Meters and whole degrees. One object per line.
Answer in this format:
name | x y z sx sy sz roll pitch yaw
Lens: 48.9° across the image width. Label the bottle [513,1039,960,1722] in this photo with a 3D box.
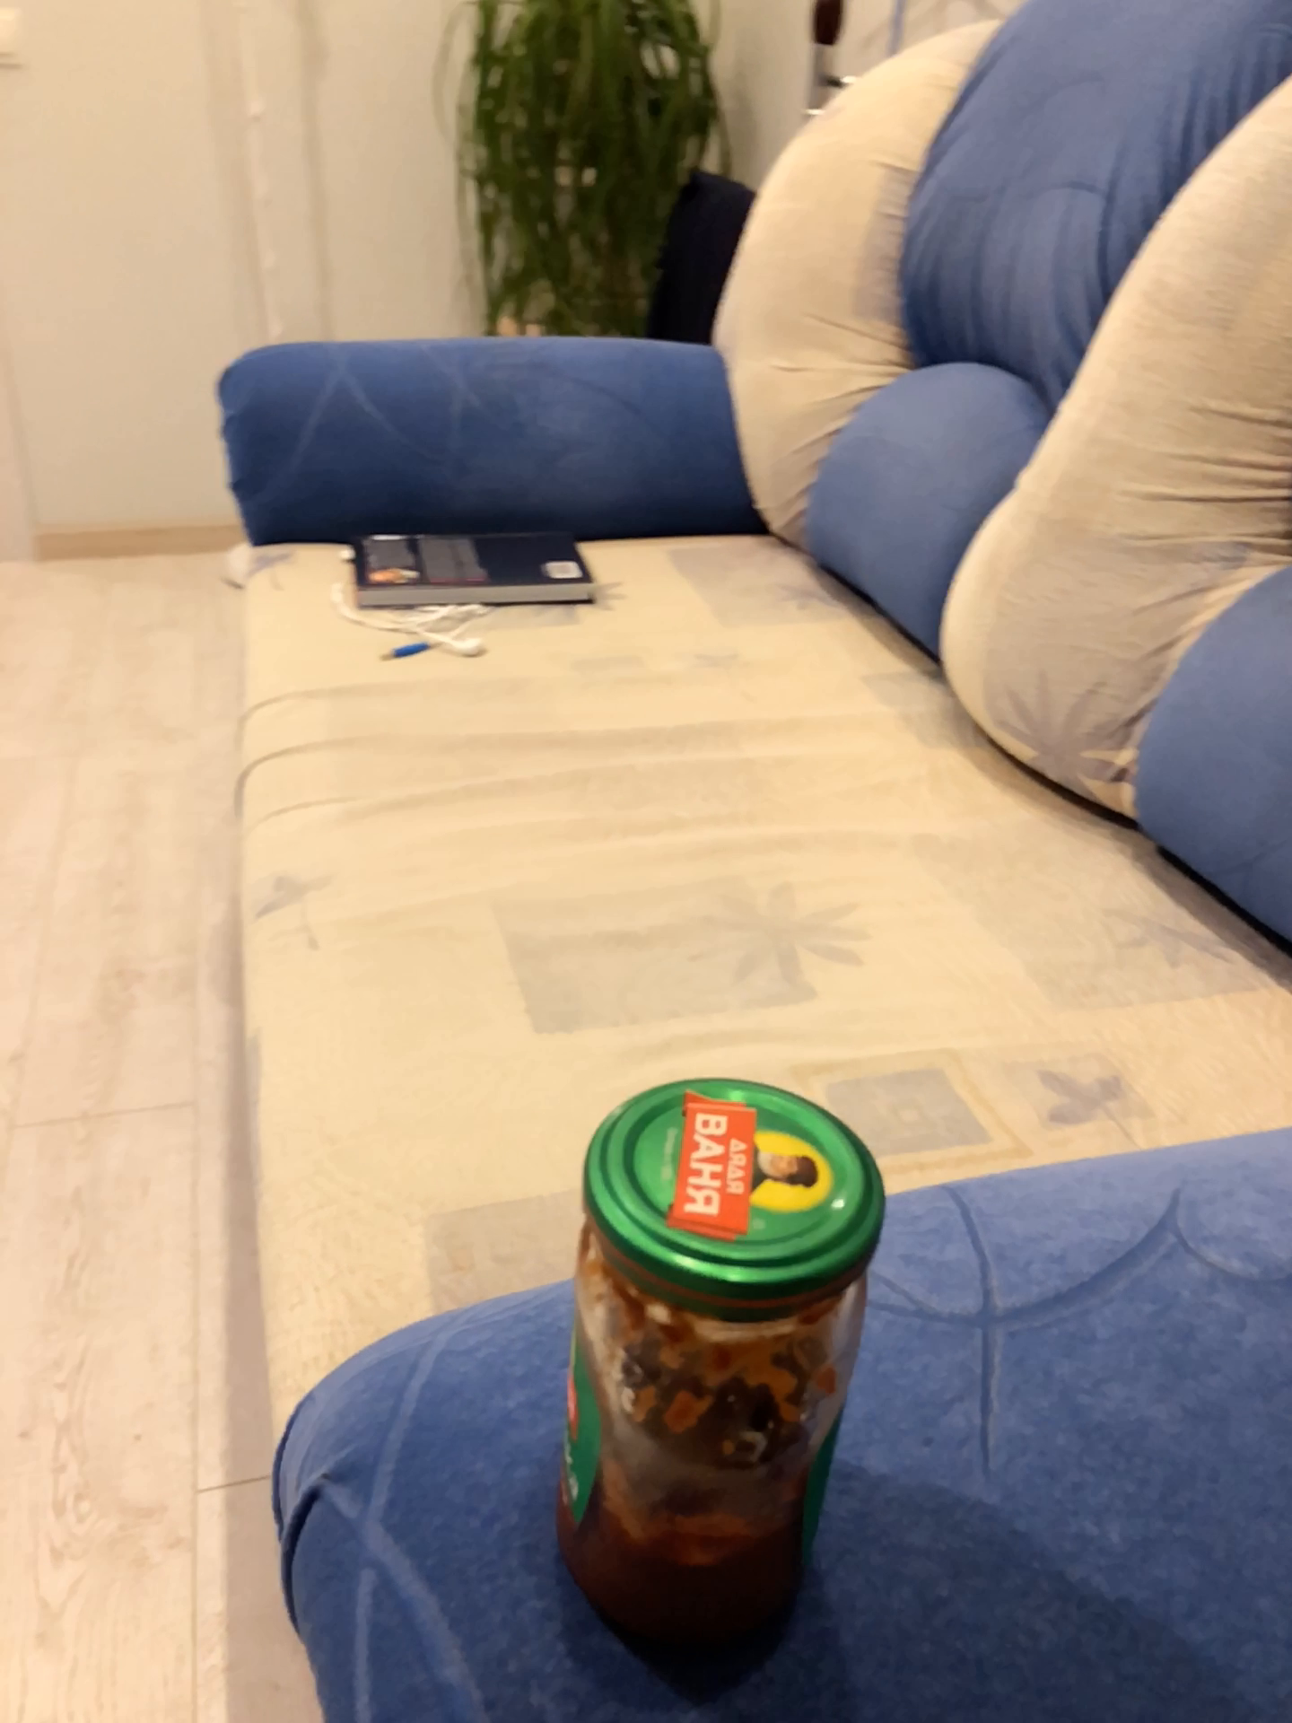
bottle | 0.015 0.091 0.253 0.060 0.092 0.060 5 28 -3
